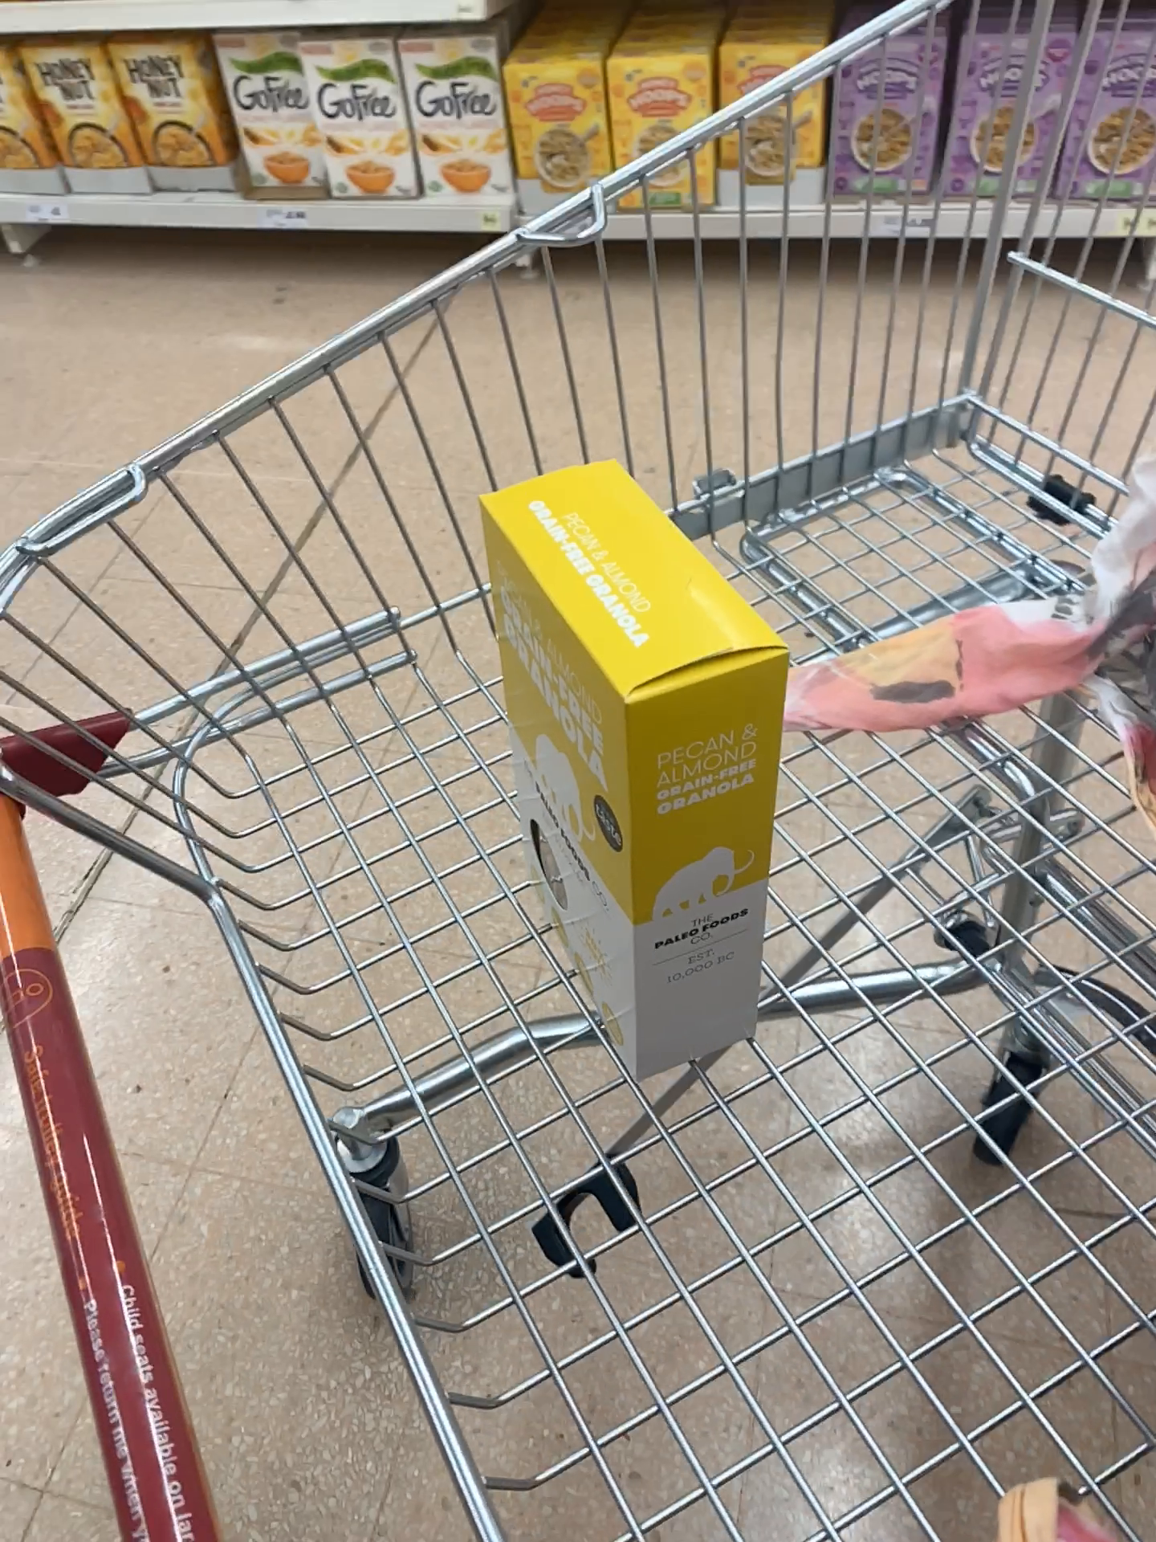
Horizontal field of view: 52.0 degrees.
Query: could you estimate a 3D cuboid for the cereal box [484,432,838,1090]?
[{"bbox_3d":[0.024,0.003,0.448,0.060,0.208,0.131,-18,48,-15],"label":"cereal box"}]
